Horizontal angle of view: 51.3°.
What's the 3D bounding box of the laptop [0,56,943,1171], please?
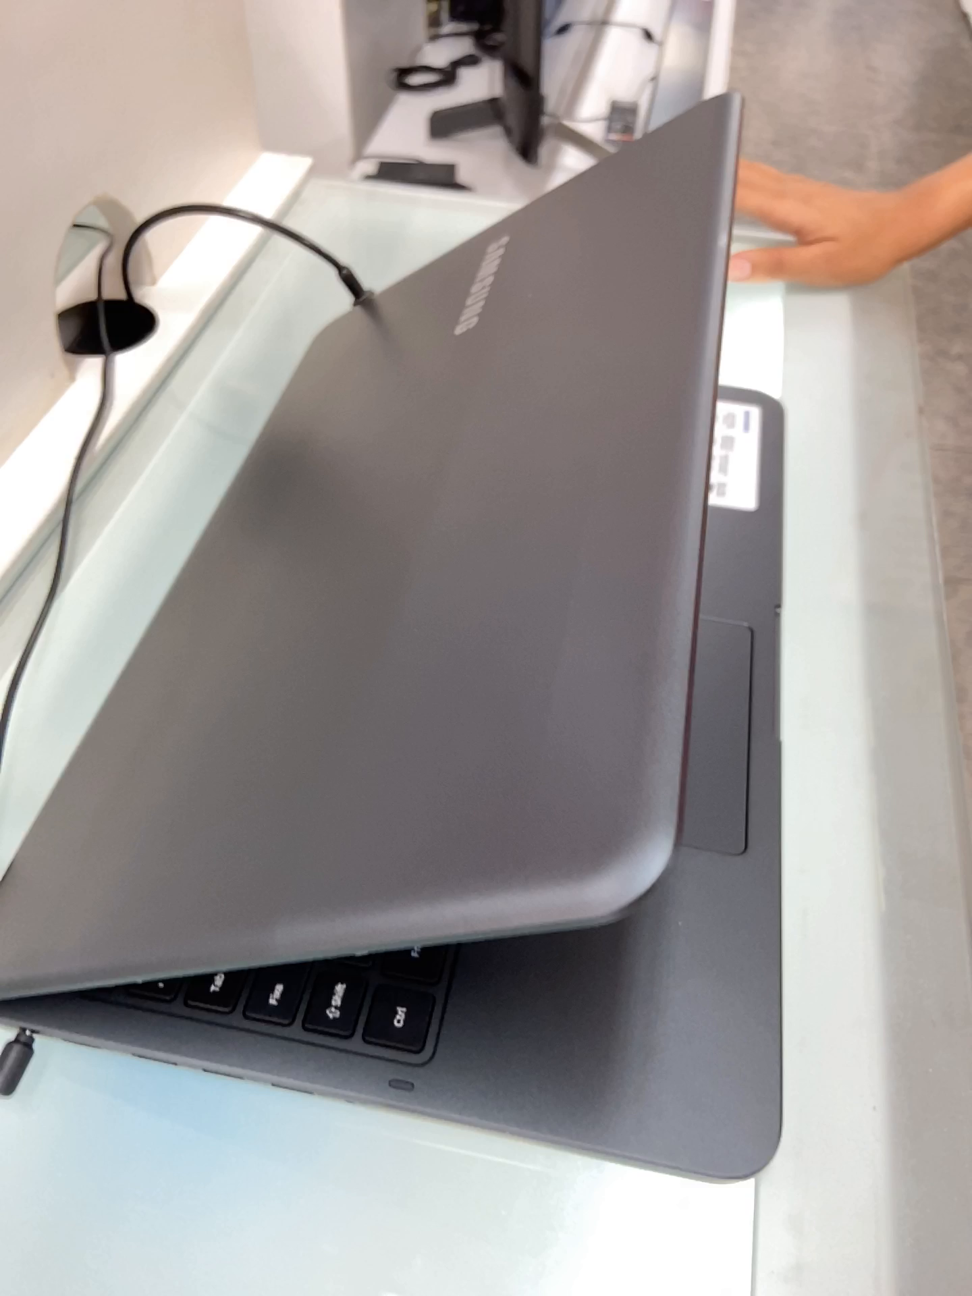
[{"bbox_3d":[0.000,-0.058,0.366,0.238,0.140,0.378,10,49,6],"label":"laptop"}]
